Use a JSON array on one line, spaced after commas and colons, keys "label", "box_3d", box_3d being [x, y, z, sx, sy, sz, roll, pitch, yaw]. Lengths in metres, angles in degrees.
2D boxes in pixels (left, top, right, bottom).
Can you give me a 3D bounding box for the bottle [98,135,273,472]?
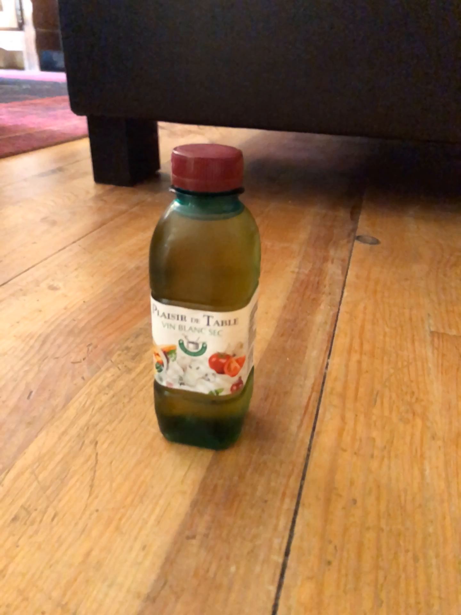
[{"label": "bottle", "box_3d": [-0.019, 0.000, 0.247, 0.060, 0.149, 0.050, 9, 27, 12]}]
